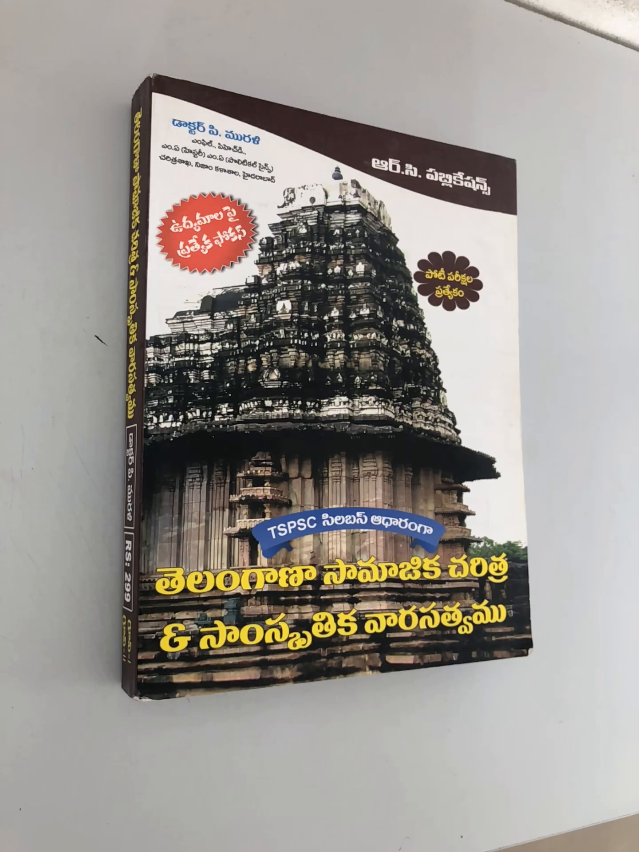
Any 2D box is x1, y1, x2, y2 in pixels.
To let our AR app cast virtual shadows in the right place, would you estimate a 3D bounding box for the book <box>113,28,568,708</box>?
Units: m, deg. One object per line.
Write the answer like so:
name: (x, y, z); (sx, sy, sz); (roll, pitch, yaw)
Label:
book: (0.014, -0.020, 0.293); (0.180, 0.040, 0.230); (3, 82, -26)
